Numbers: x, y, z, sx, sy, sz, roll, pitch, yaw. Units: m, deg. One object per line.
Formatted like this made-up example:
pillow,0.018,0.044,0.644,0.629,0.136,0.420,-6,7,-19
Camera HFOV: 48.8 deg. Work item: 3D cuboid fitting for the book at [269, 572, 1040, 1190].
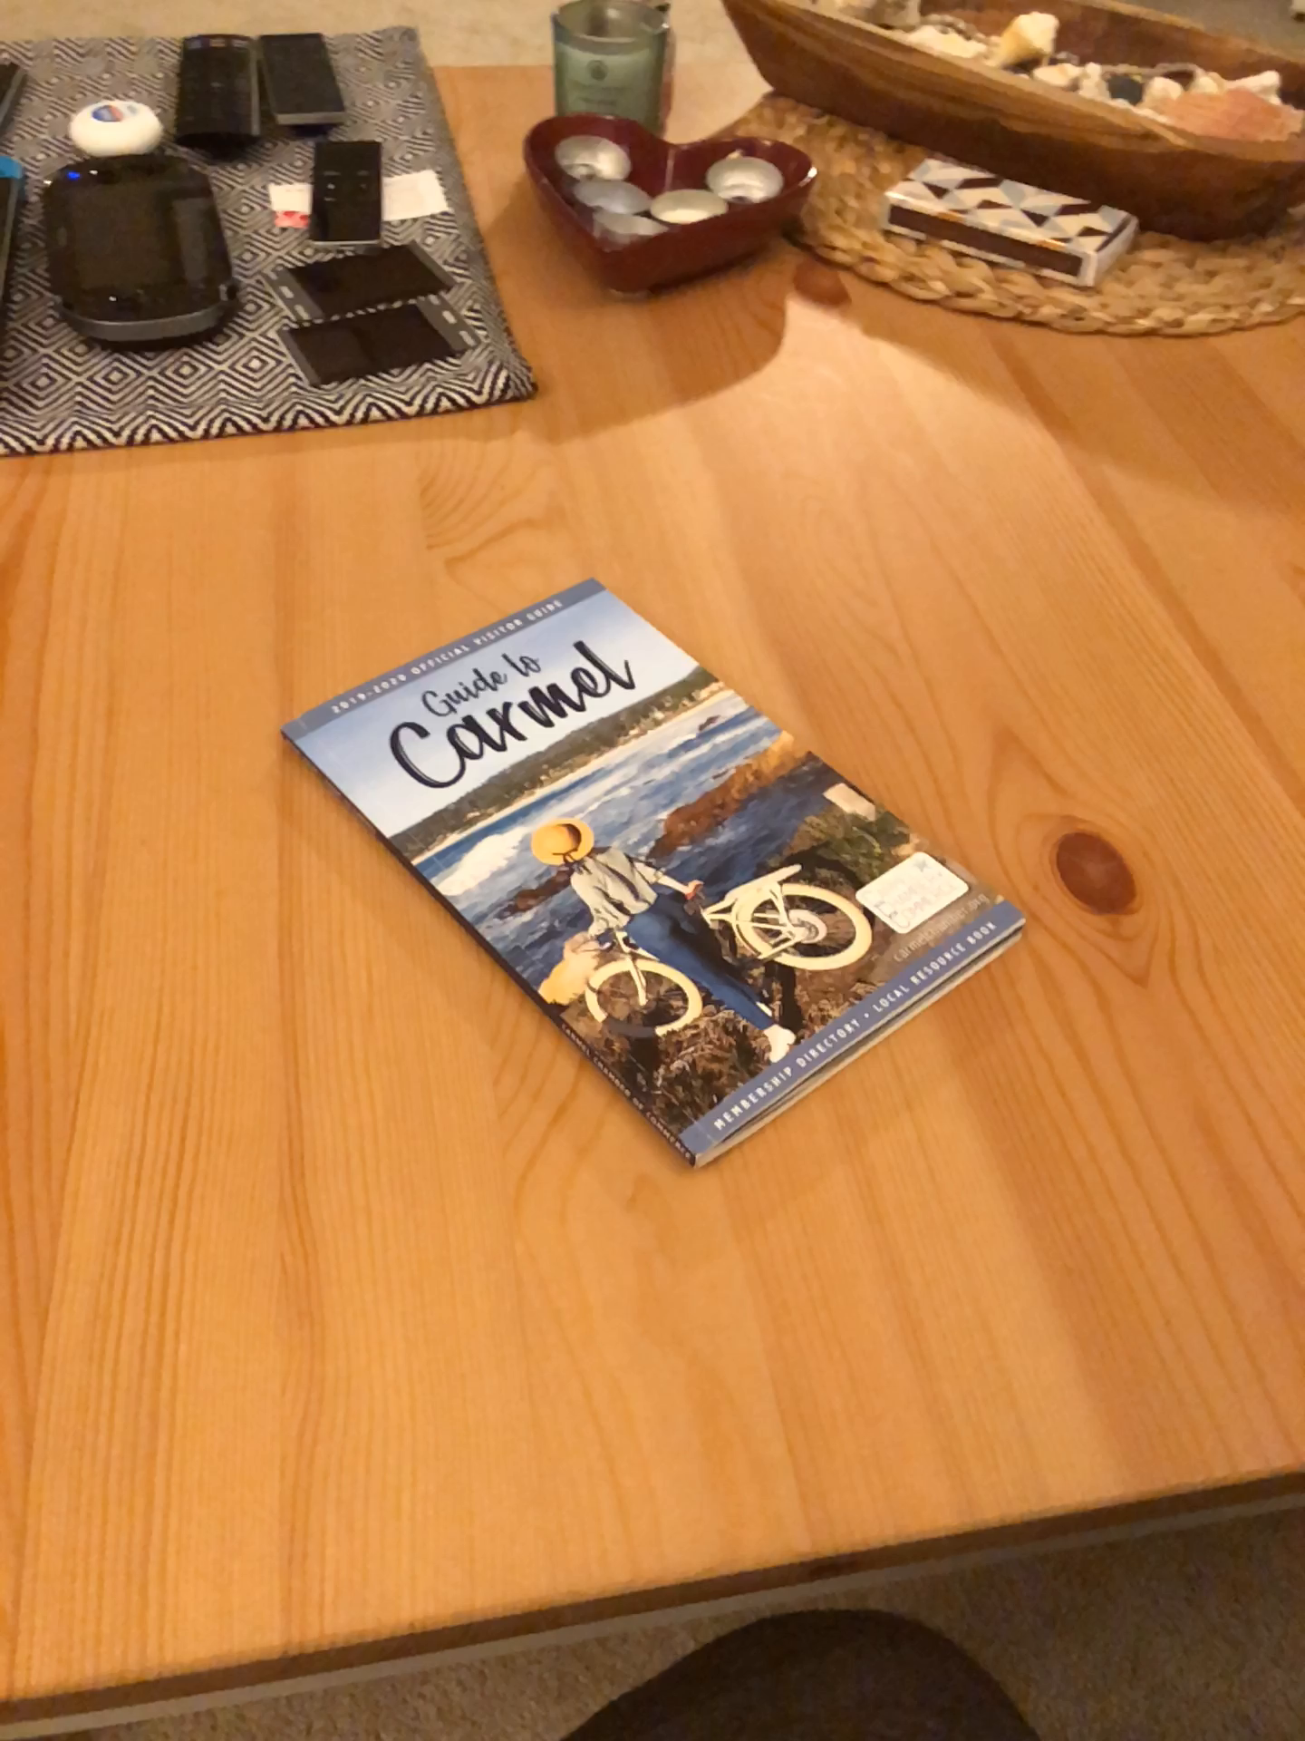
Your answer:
book,-0.005,-0.014,0.448,0.138,0.010,0.208,-31,56,-28
